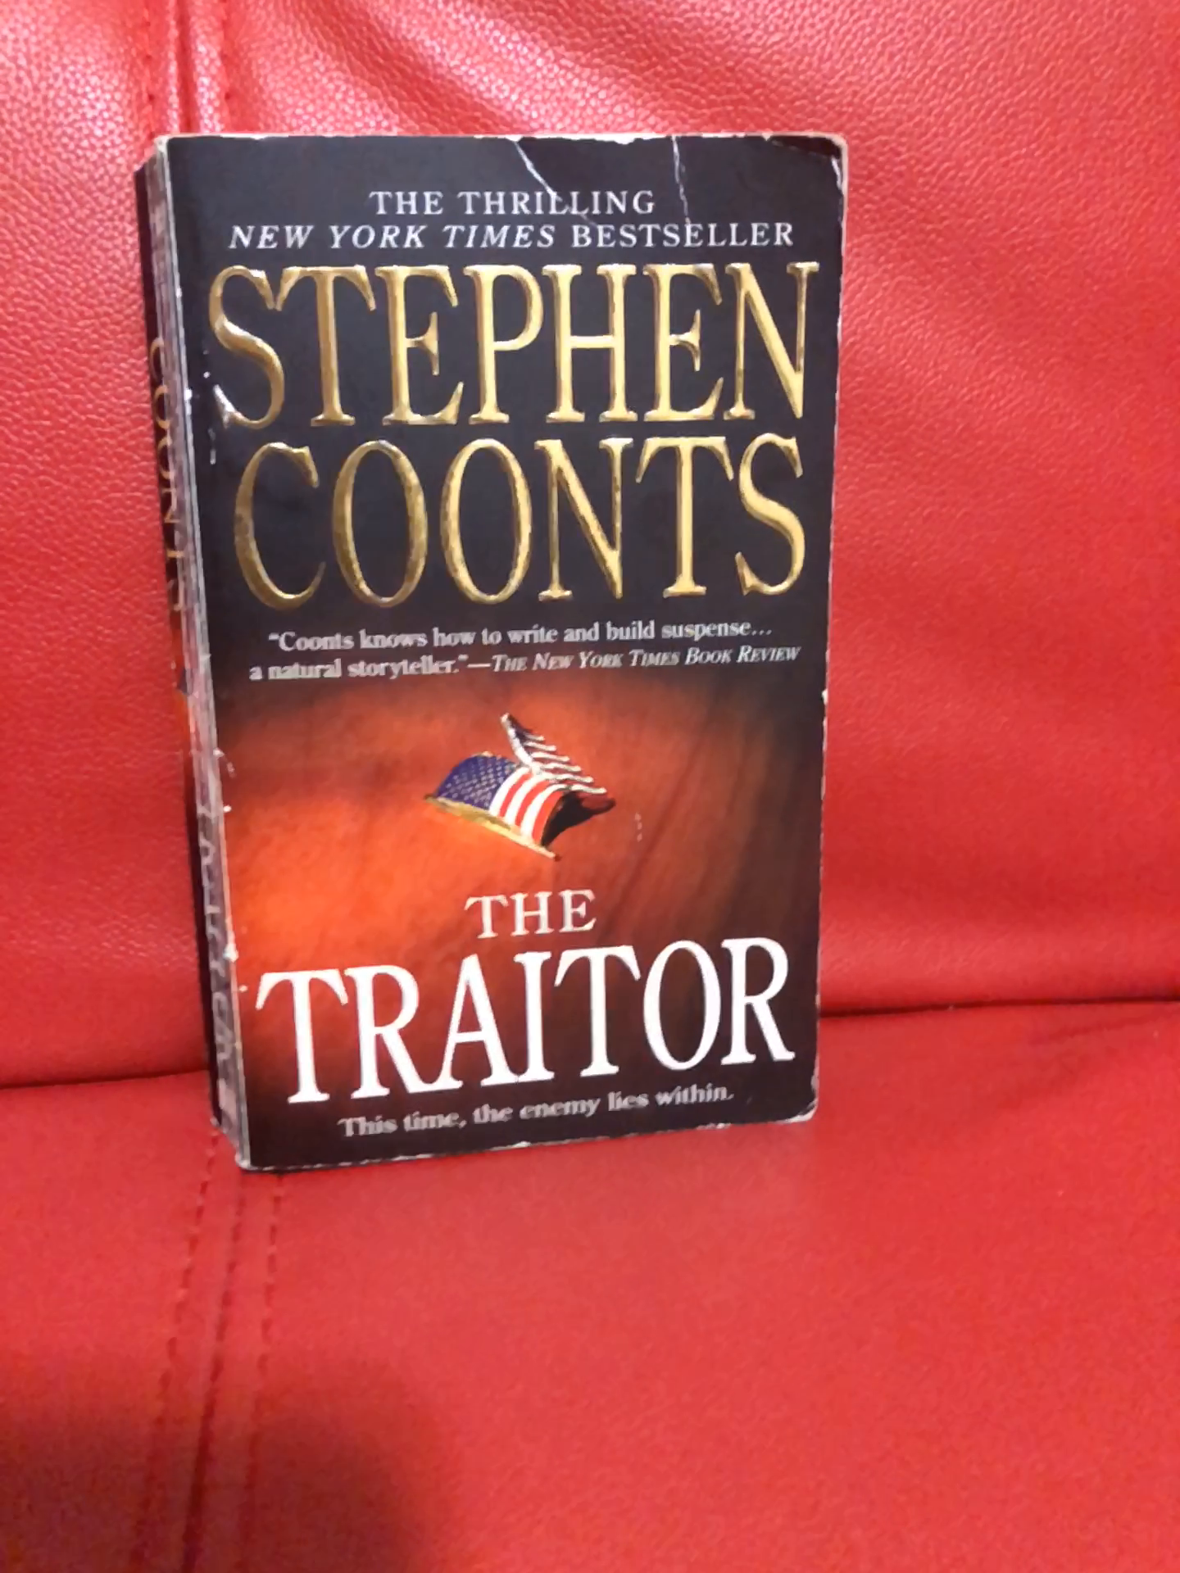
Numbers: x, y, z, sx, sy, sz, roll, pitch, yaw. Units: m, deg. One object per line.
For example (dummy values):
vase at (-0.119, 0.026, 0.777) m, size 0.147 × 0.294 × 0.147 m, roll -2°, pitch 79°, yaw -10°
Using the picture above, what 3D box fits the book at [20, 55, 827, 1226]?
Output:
book at (-0.023, -0.022, 0.233) m, size 0.120 × 0.180 × 0.040 m, roll -3°, pitch 10°, yaw -10°
